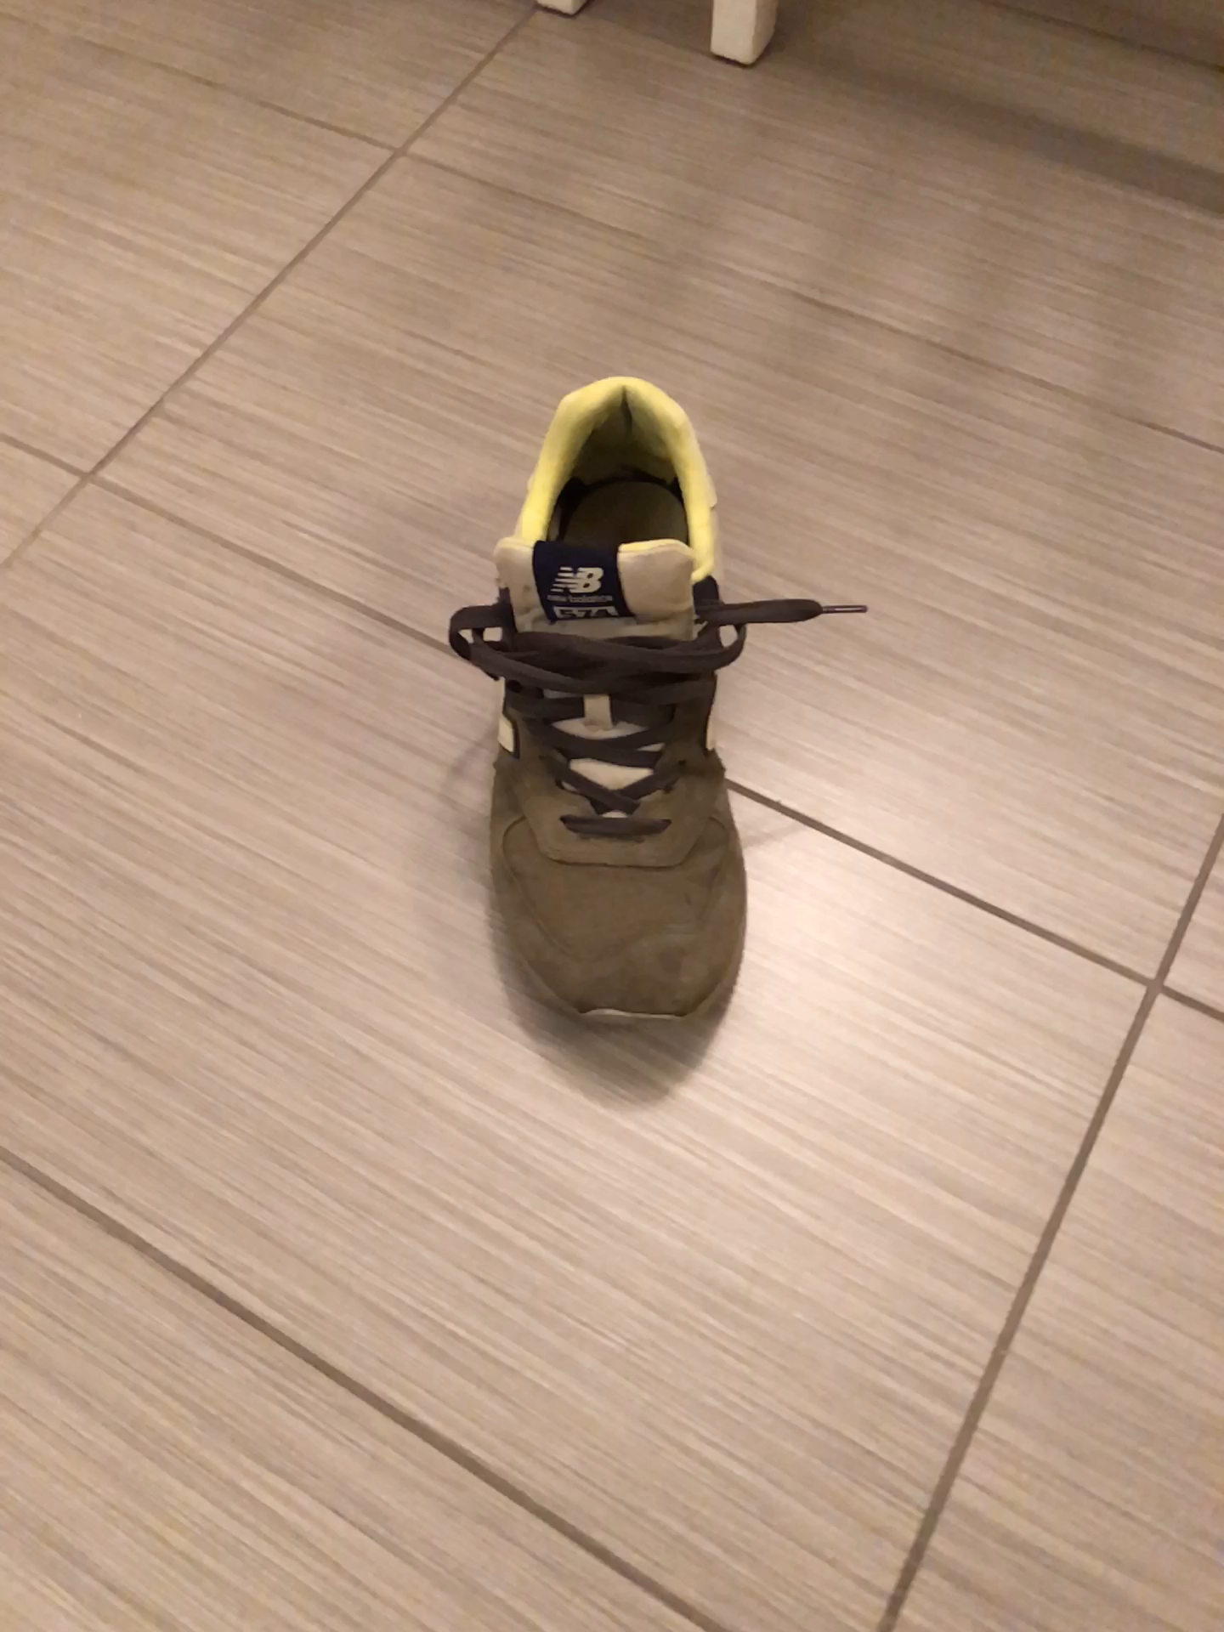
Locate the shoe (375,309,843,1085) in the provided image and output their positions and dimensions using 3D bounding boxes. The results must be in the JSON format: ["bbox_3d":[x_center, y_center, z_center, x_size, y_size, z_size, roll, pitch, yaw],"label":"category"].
[{"bbox_3d":[0.013,-0.060,0.580,0.130,0.110,0.311,8,62,8],"label":"shoe"}]
